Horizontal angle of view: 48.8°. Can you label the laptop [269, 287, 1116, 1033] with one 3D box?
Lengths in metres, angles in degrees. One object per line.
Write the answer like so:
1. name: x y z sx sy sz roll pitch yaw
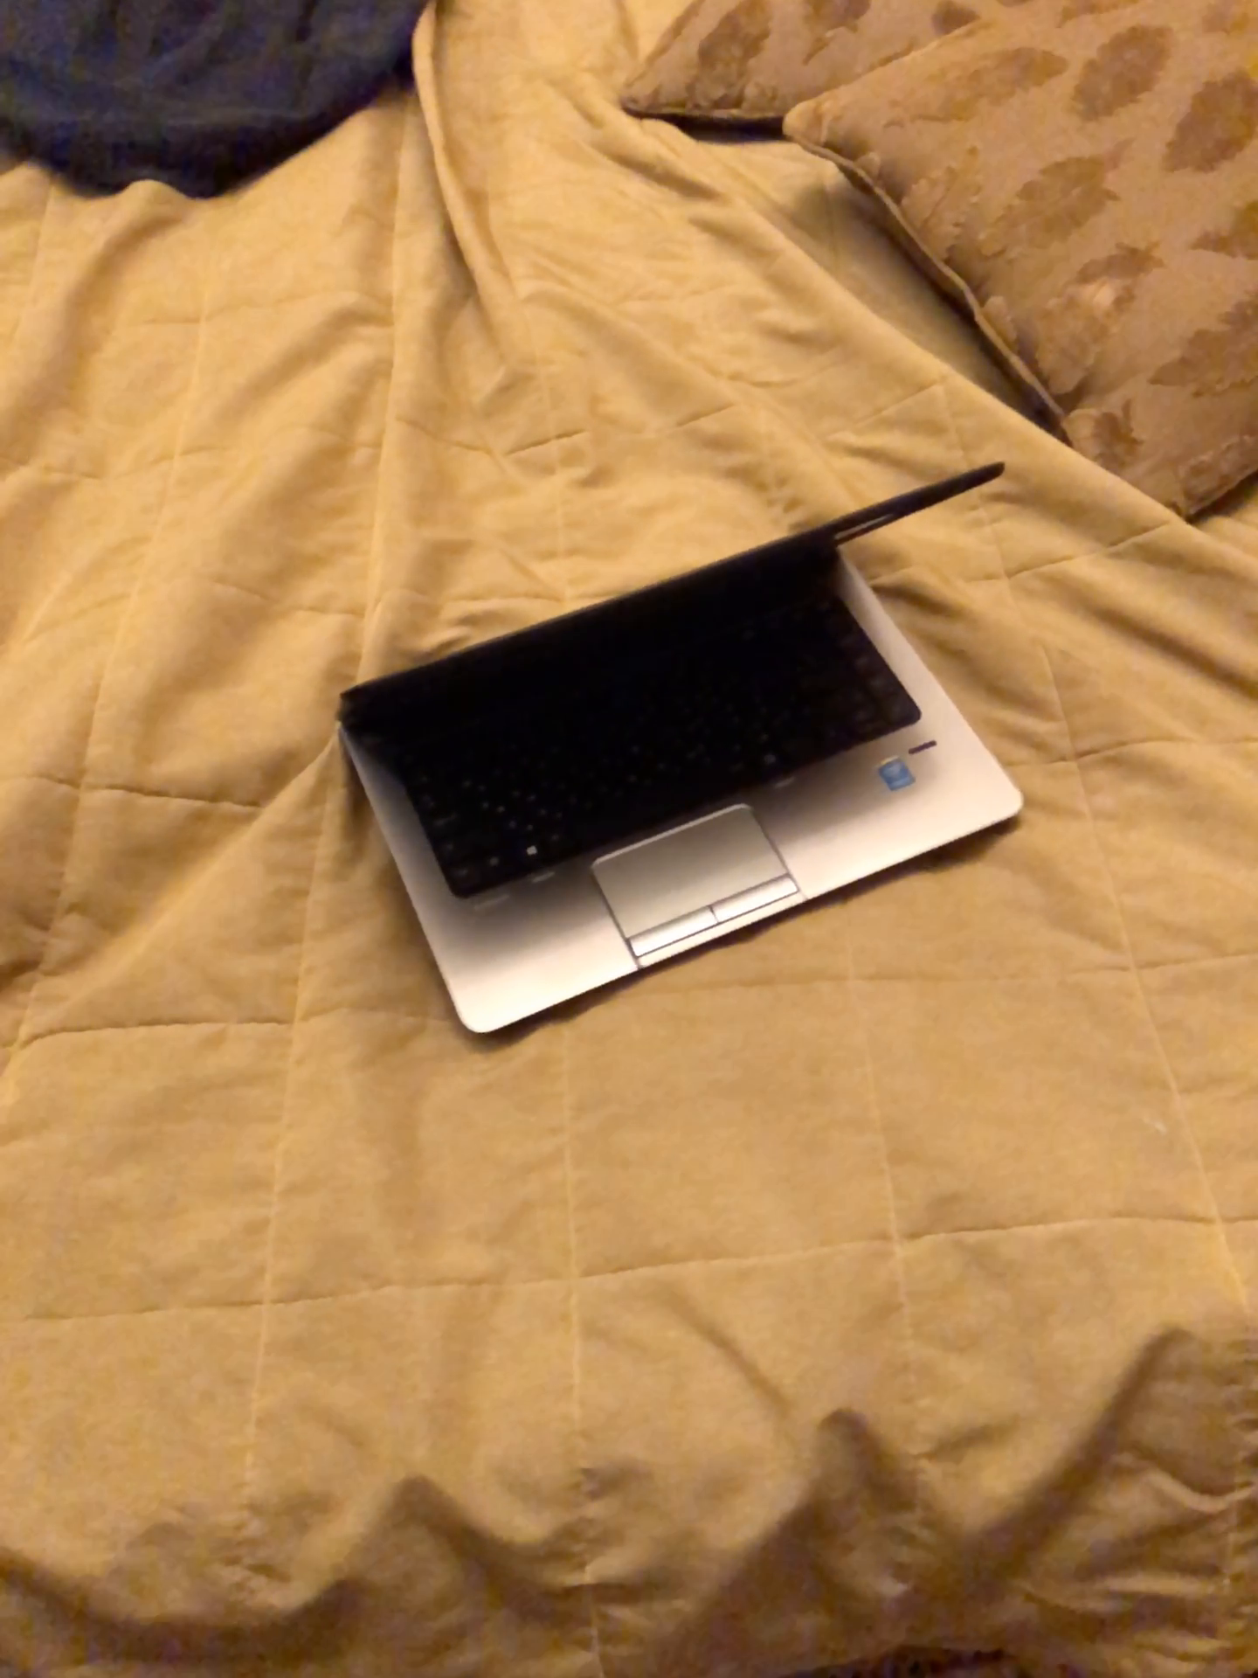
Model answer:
1. laptop: 0.024 -0.098 0.722 0.331 0.189 0.225 -21 59 -13
